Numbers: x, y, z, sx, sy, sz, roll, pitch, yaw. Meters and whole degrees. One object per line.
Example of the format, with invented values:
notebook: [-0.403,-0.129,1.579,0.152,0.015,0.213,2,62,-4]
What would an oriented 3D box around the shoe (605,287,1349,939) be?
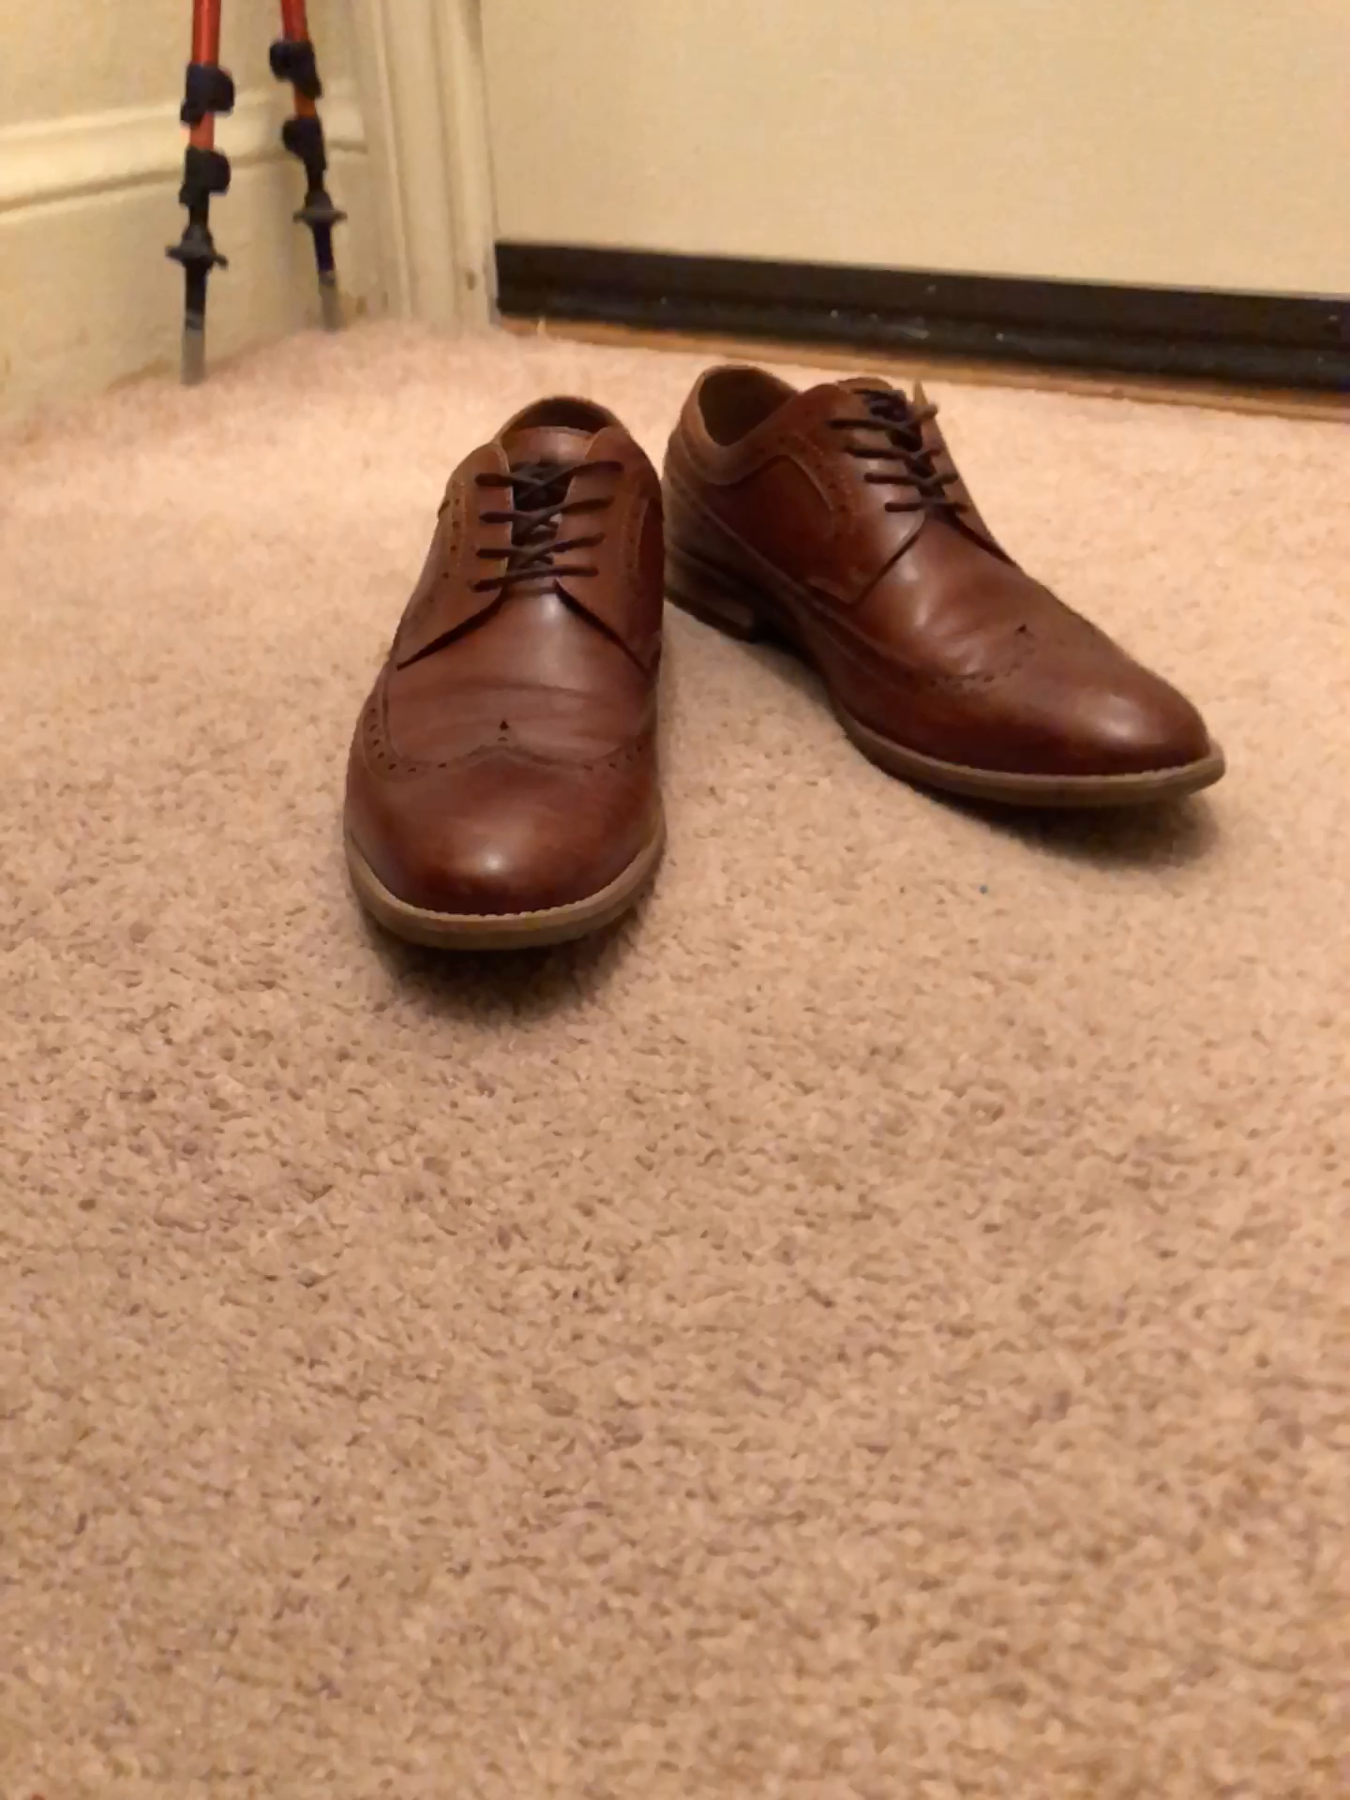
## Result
shoe: [0.093,-0.127,0.543,0.115,0.114,0.311,-16,36,-21]

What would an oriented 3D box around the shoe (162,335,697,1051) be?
shoe: [-0.054,-0.094,0.504,0.115,0.114,0.312,1,33,2]
